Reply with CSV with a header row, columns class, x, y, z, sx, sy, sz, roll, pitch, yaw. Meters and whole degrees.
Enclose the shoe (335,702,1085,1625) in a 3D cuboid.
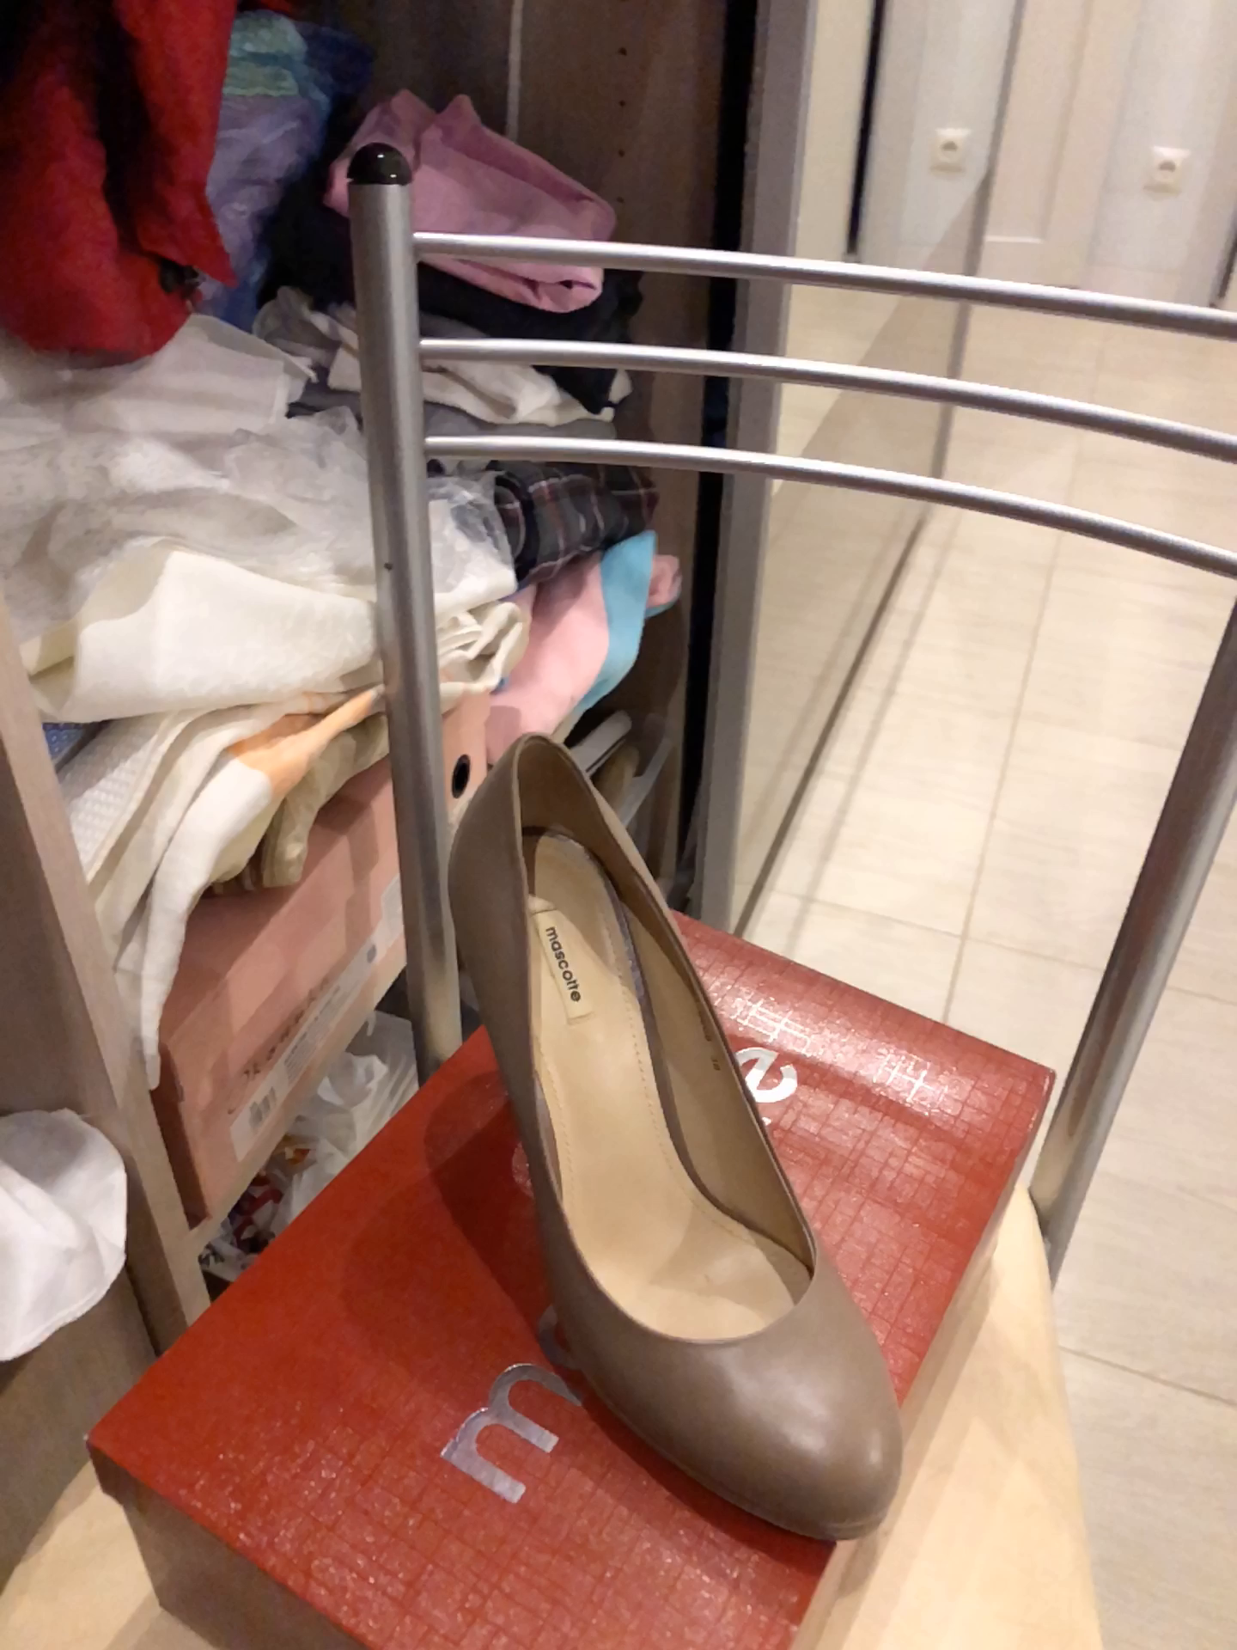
class,x,y,z,sx,sy,sz,roll,pitch,yaw
shoe,0.010,0.086,0.404,0.084,0.145,0.215,-23,44,-28
